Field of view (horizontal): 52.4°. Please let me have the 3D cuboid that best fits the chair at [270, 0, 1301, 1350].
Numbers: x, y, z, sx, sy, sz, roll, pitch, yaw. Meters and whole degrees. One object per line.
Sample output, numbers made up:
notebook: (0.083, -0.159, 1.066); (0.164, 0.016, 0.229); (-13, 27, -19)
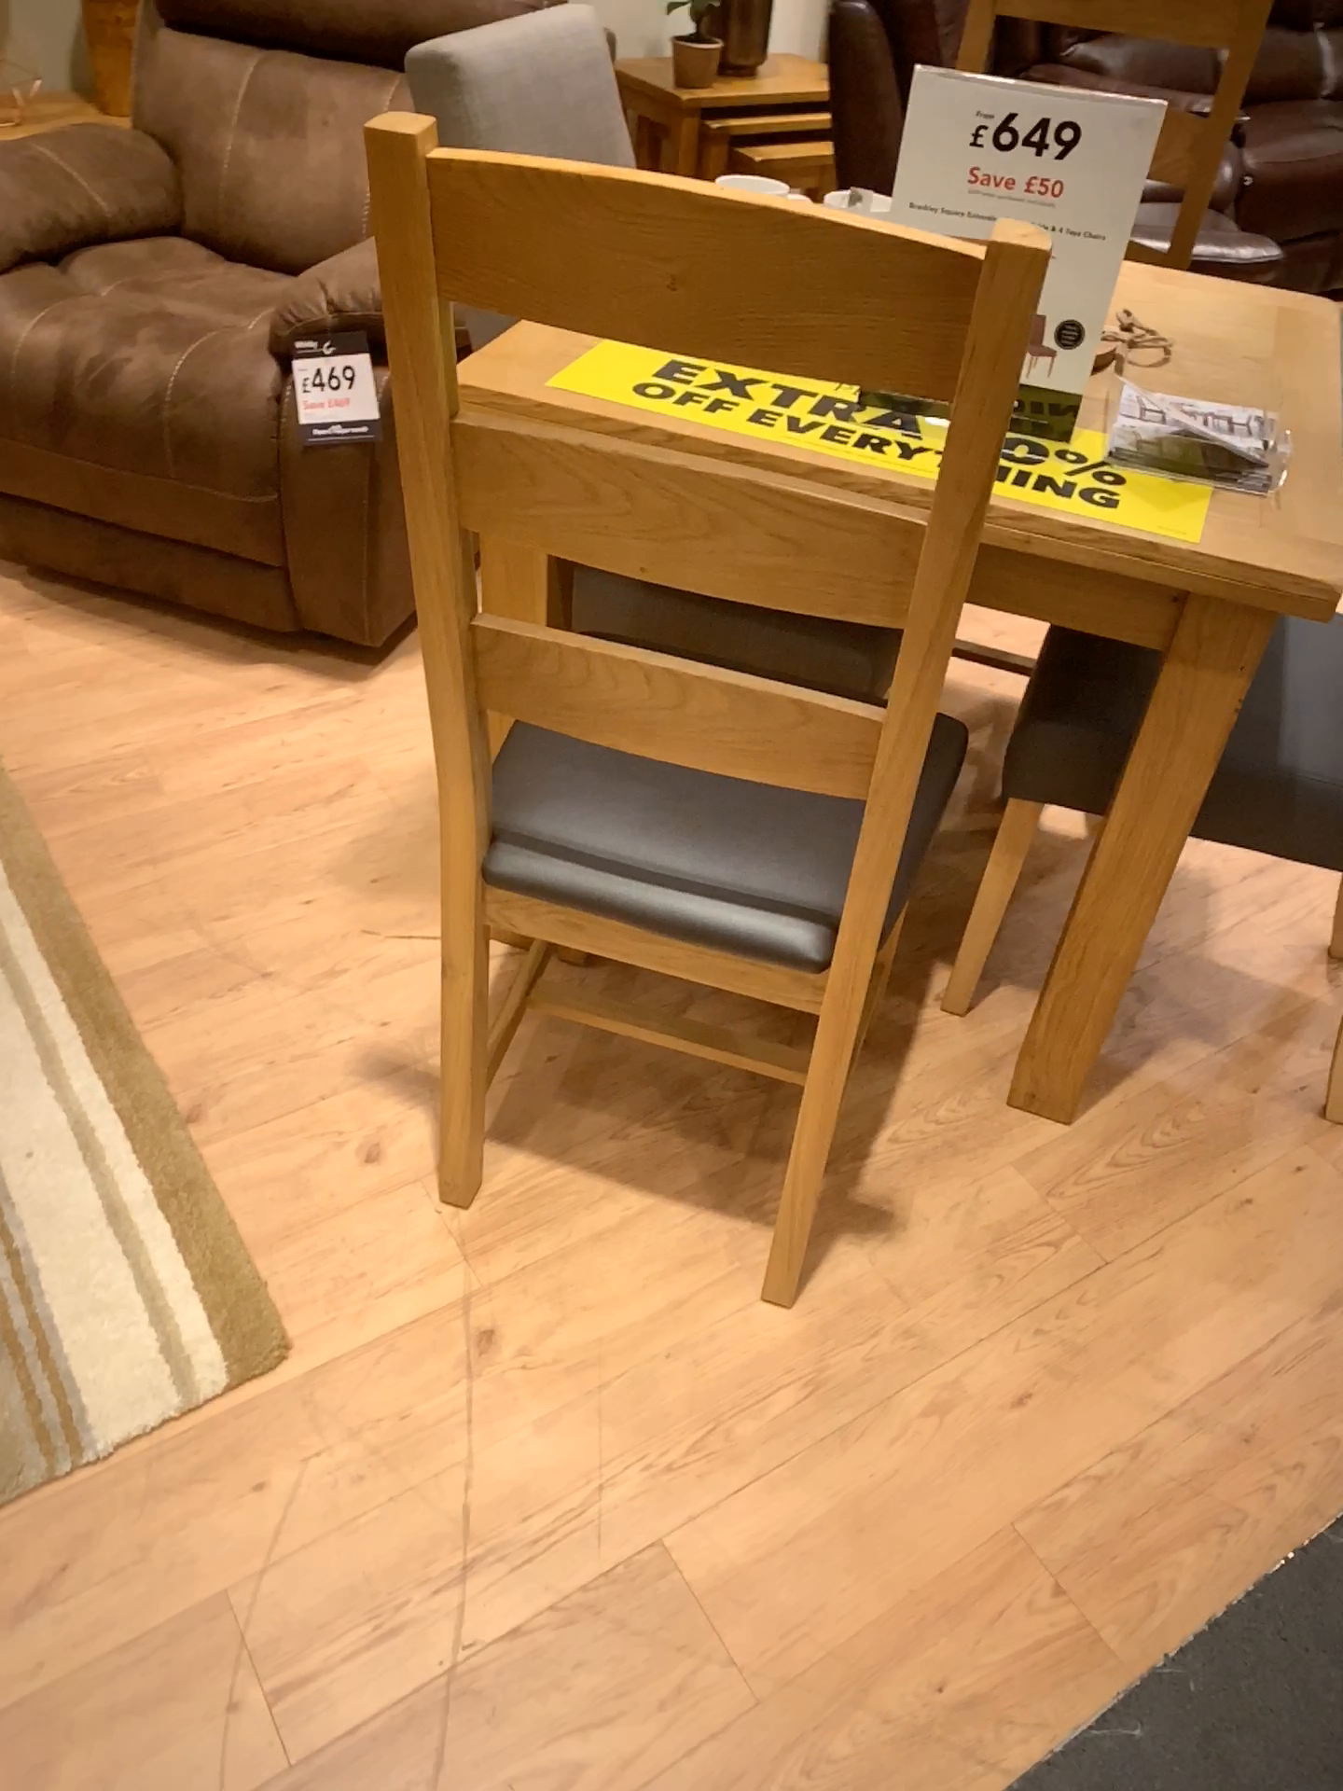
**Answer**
chair: (0.068, -0.181, 1.237); (0.554, 0.958, 0.582); (15, 40, 8)
